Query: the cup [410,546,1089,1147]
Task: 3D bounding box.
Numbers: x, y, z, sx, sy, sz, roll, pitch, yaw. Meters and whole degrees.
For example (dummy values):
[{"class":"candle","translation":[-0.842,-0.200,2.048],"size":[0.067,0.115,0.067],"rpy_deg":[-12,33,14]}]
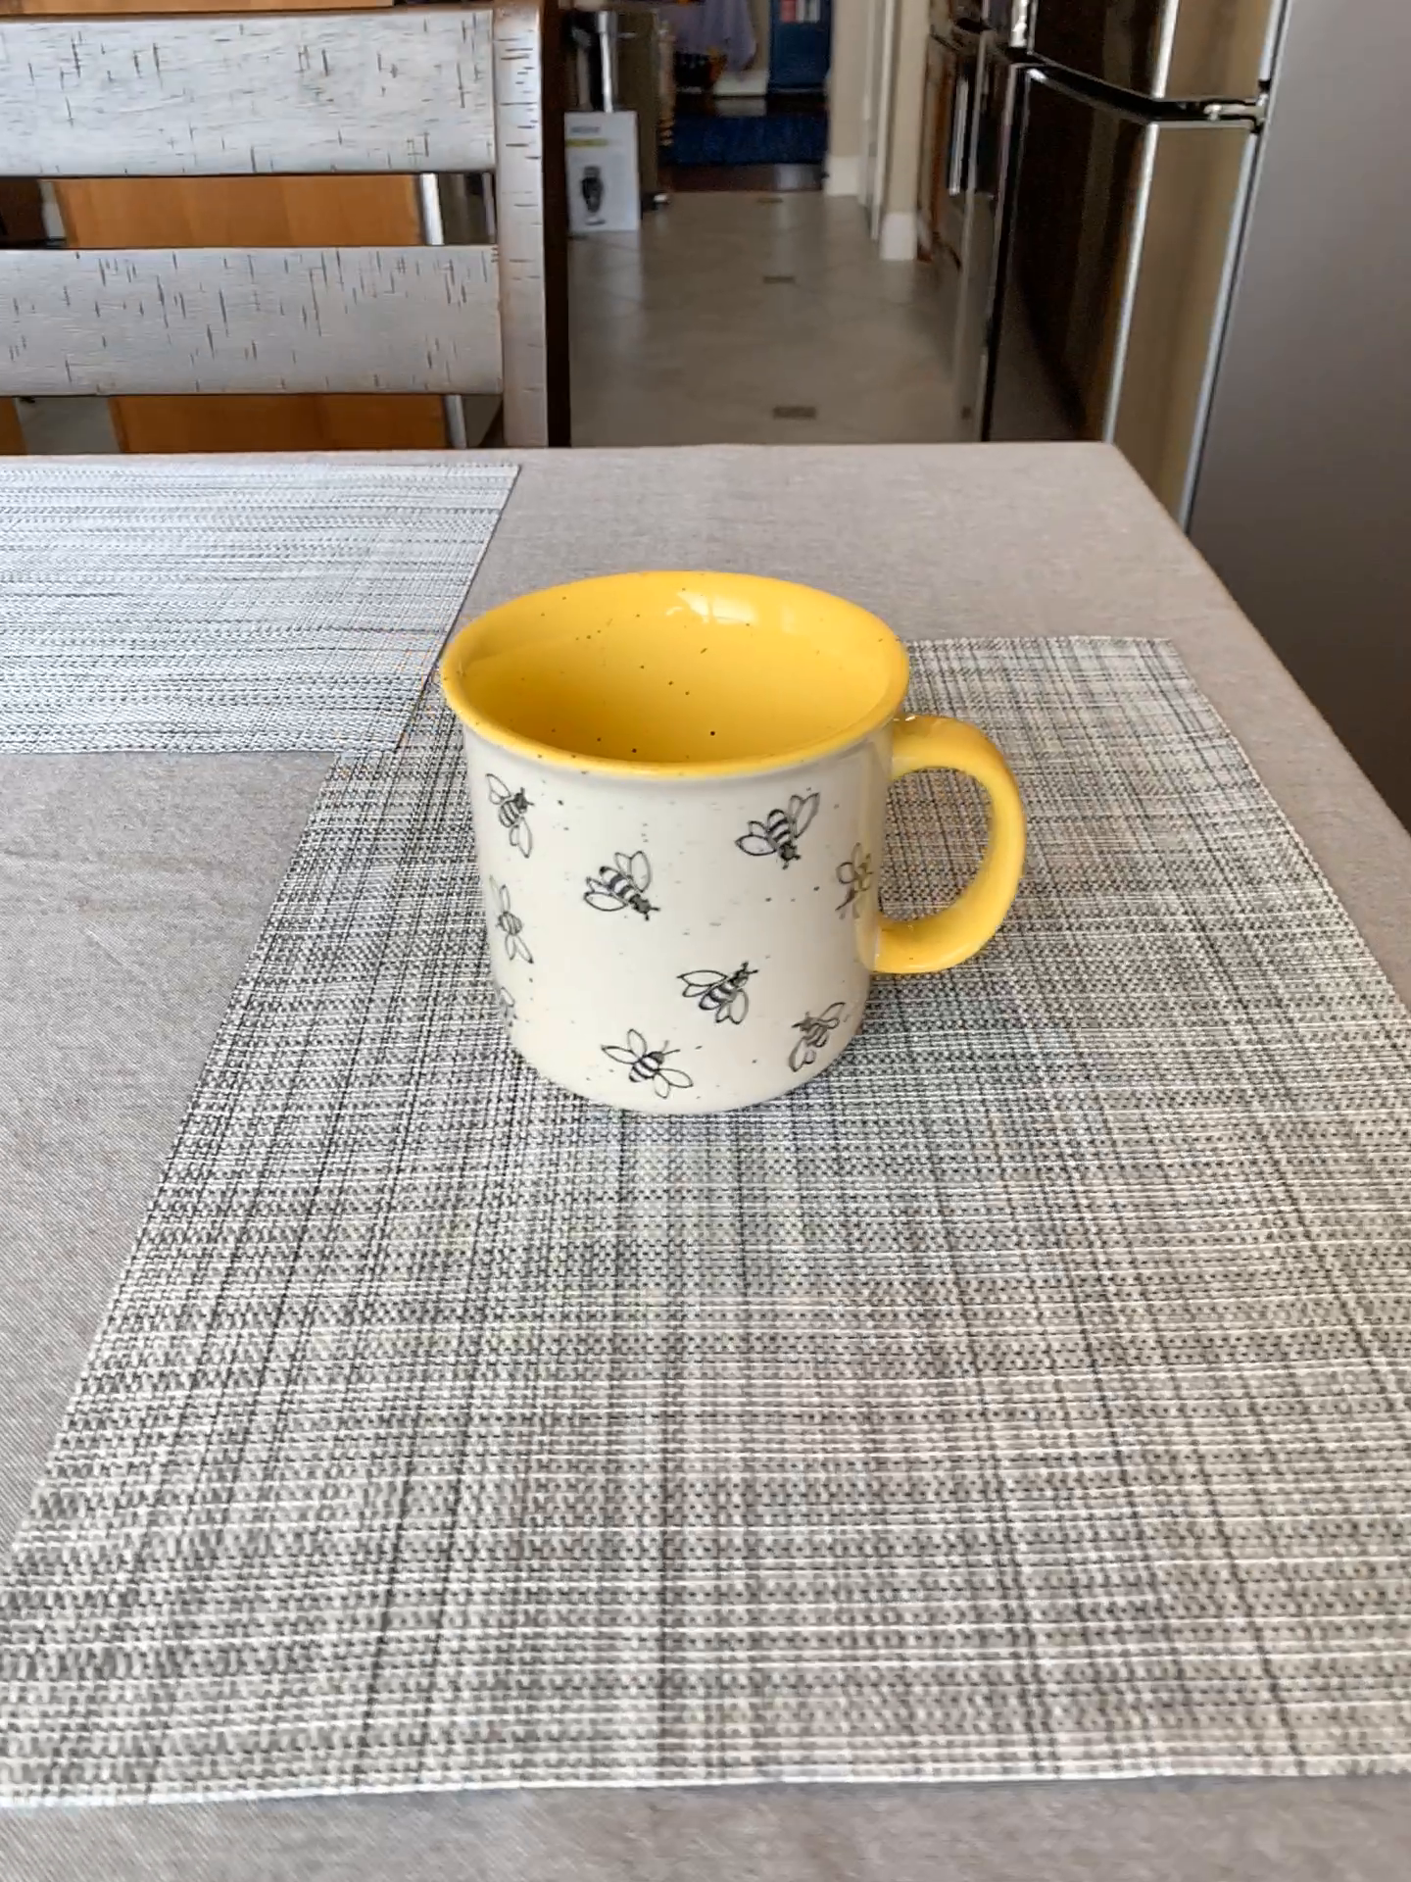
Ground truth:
[{"class":"cup","translation":[0.011,-0.027,0.368],"size":[0.136,0.107,0.114],"rpy_deg":[0,36,2]}]
